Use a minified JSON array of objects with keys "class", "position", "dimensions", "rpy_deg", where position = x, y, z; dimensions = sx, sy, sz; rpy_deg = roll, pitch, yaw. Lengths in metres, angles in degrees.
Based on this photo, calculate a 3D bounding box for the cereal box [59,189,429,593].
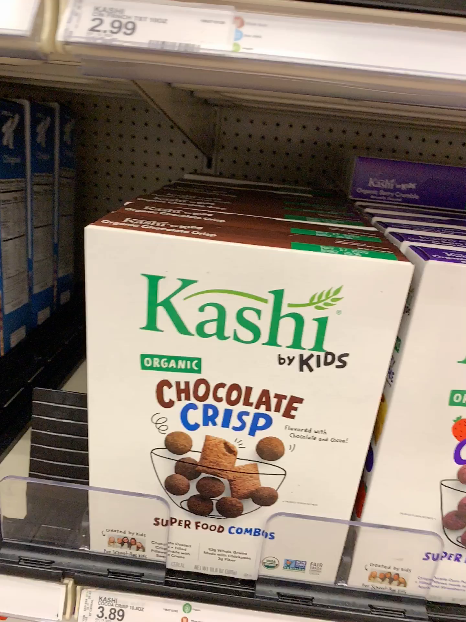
[{"class":"cereal box","position":[-0.005,0.062,0.334],"dimensions":[0.200,0.259,0.060],"rpy_deg":[7,22,2]}]
